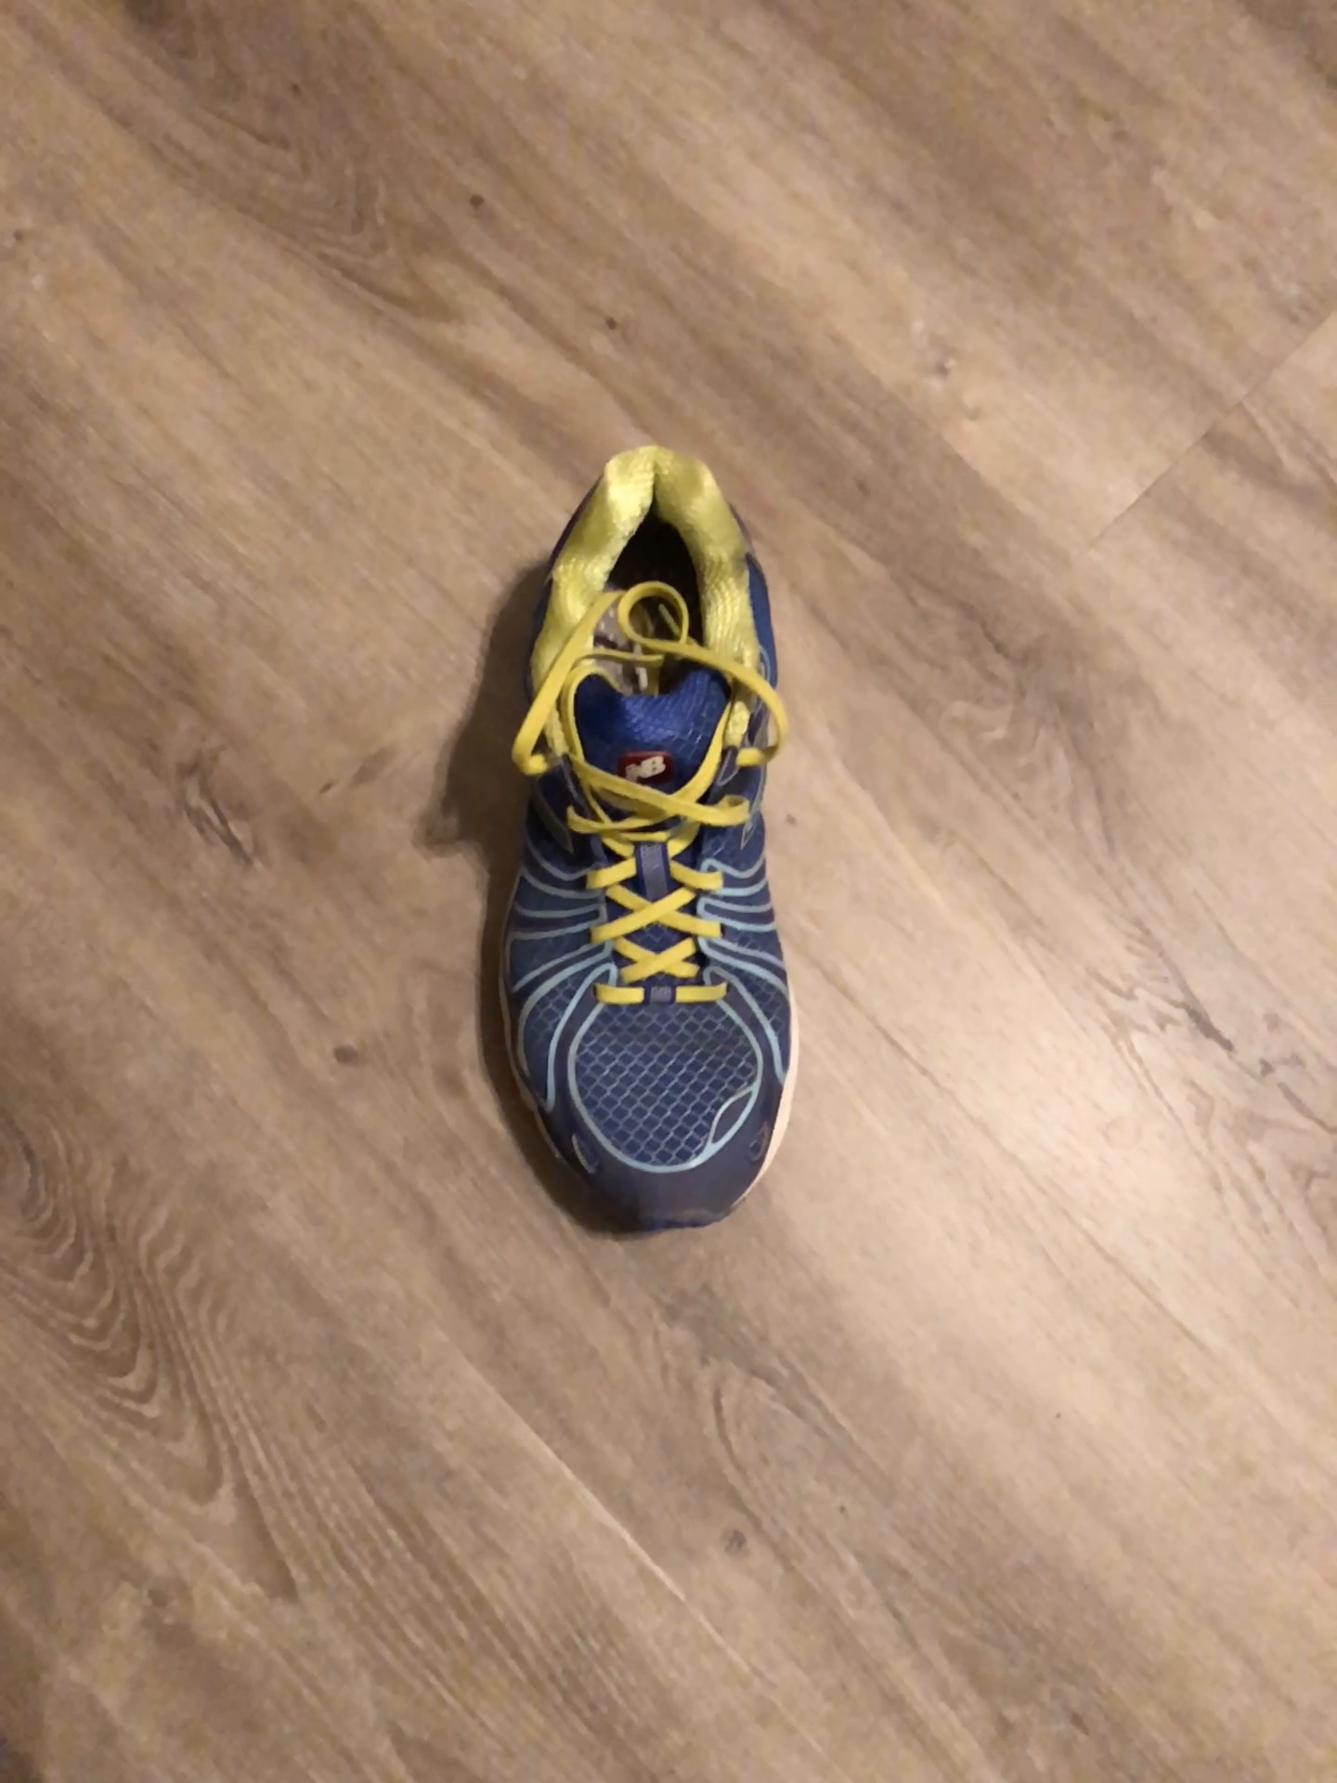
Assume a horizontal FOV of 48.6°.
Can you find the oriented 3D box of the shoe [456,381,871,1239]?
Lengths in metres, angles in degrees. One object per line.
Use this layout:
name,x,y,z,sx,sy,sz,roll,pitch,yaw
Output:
shoe,-0.004,-0.020,0.467,0.110,0.100,0.250,0,78,-2
